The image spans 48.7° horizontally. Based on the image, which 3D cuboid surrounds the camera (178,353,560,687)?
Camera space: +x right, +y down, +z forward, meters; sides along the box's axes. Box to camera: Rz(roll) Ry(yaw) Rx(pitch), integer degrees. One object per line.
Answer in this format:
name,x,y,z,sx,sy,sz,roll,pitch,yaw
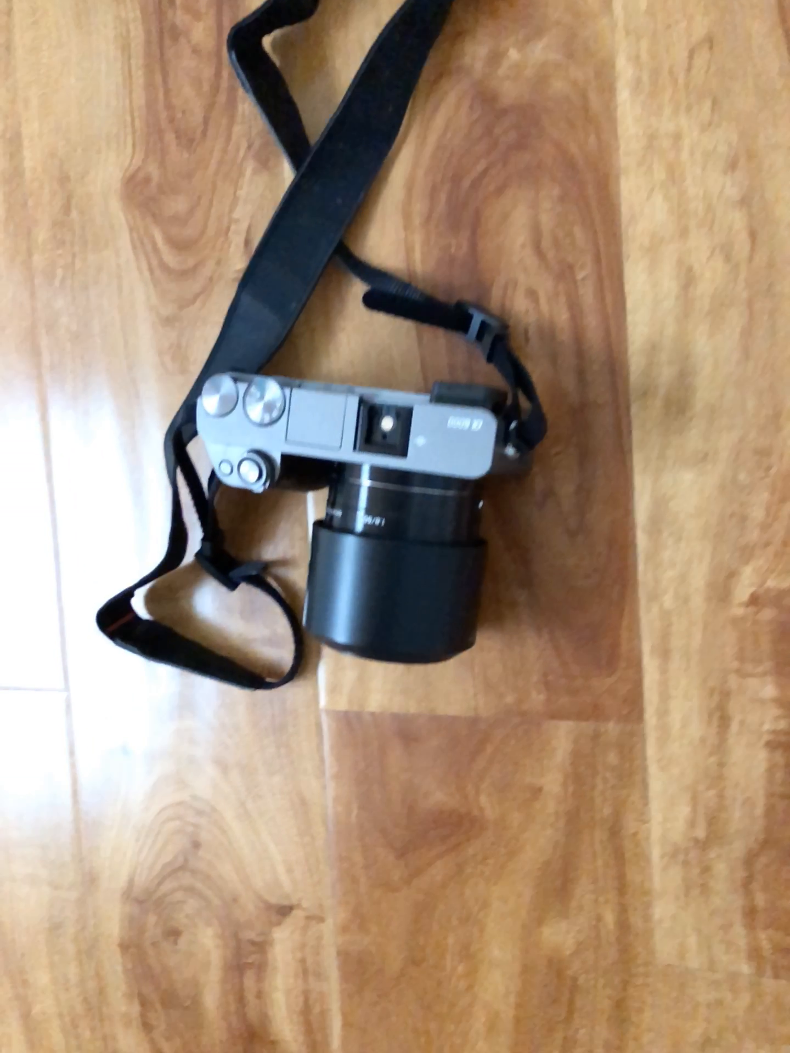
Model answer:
camera,-0.010,-0.008,0.358,0.130,0.070,0.110,7,96,21
